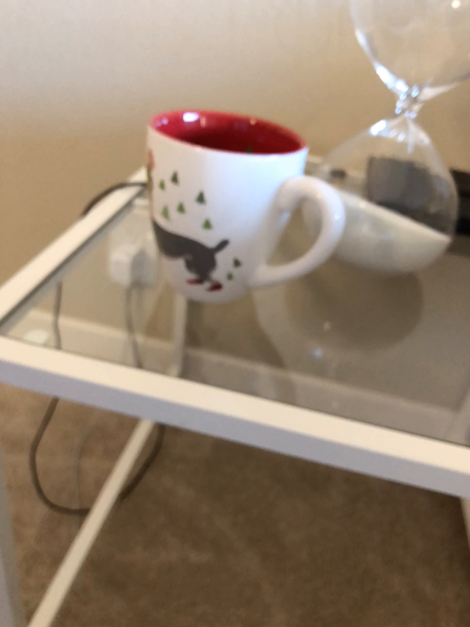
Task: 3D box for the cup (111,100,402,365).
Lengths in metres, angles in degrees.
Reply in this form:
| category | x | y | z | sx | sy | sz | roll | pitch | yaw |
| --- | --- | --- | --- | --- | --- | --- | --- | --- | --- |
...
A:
| category | x | y | z | sx | sy | sz | roll | pitch | yaw |
| --- | --- | --- | --- | --- | --- | --- | --- | --- | --- |
| cup | 0.007 | -0.065 | 0.361 | 0.150 | 0.109 | 0.100 | 28 | 37 | 28 |
